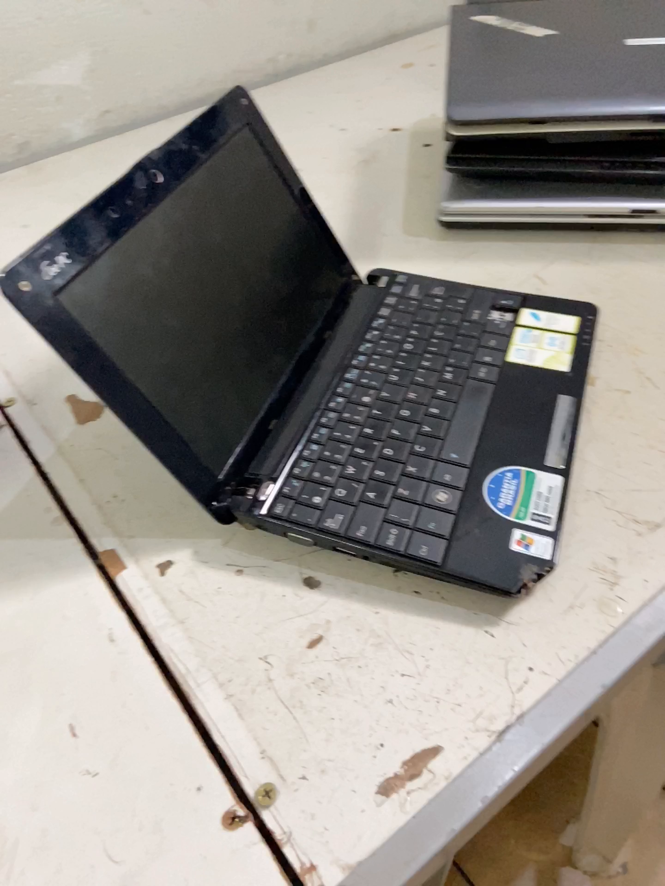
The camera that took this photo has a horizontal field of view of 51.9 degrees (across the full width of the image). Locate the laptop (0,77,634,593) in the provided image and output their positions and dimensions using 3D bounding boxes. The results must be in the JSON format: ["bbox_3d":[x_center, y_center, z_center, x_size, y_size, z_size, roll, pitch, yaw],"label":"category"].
[{"bbox_3d":[0.014,-0.091,0.407,0.265,0.131,0.260,14,48,16],"label":"laptop"}]
